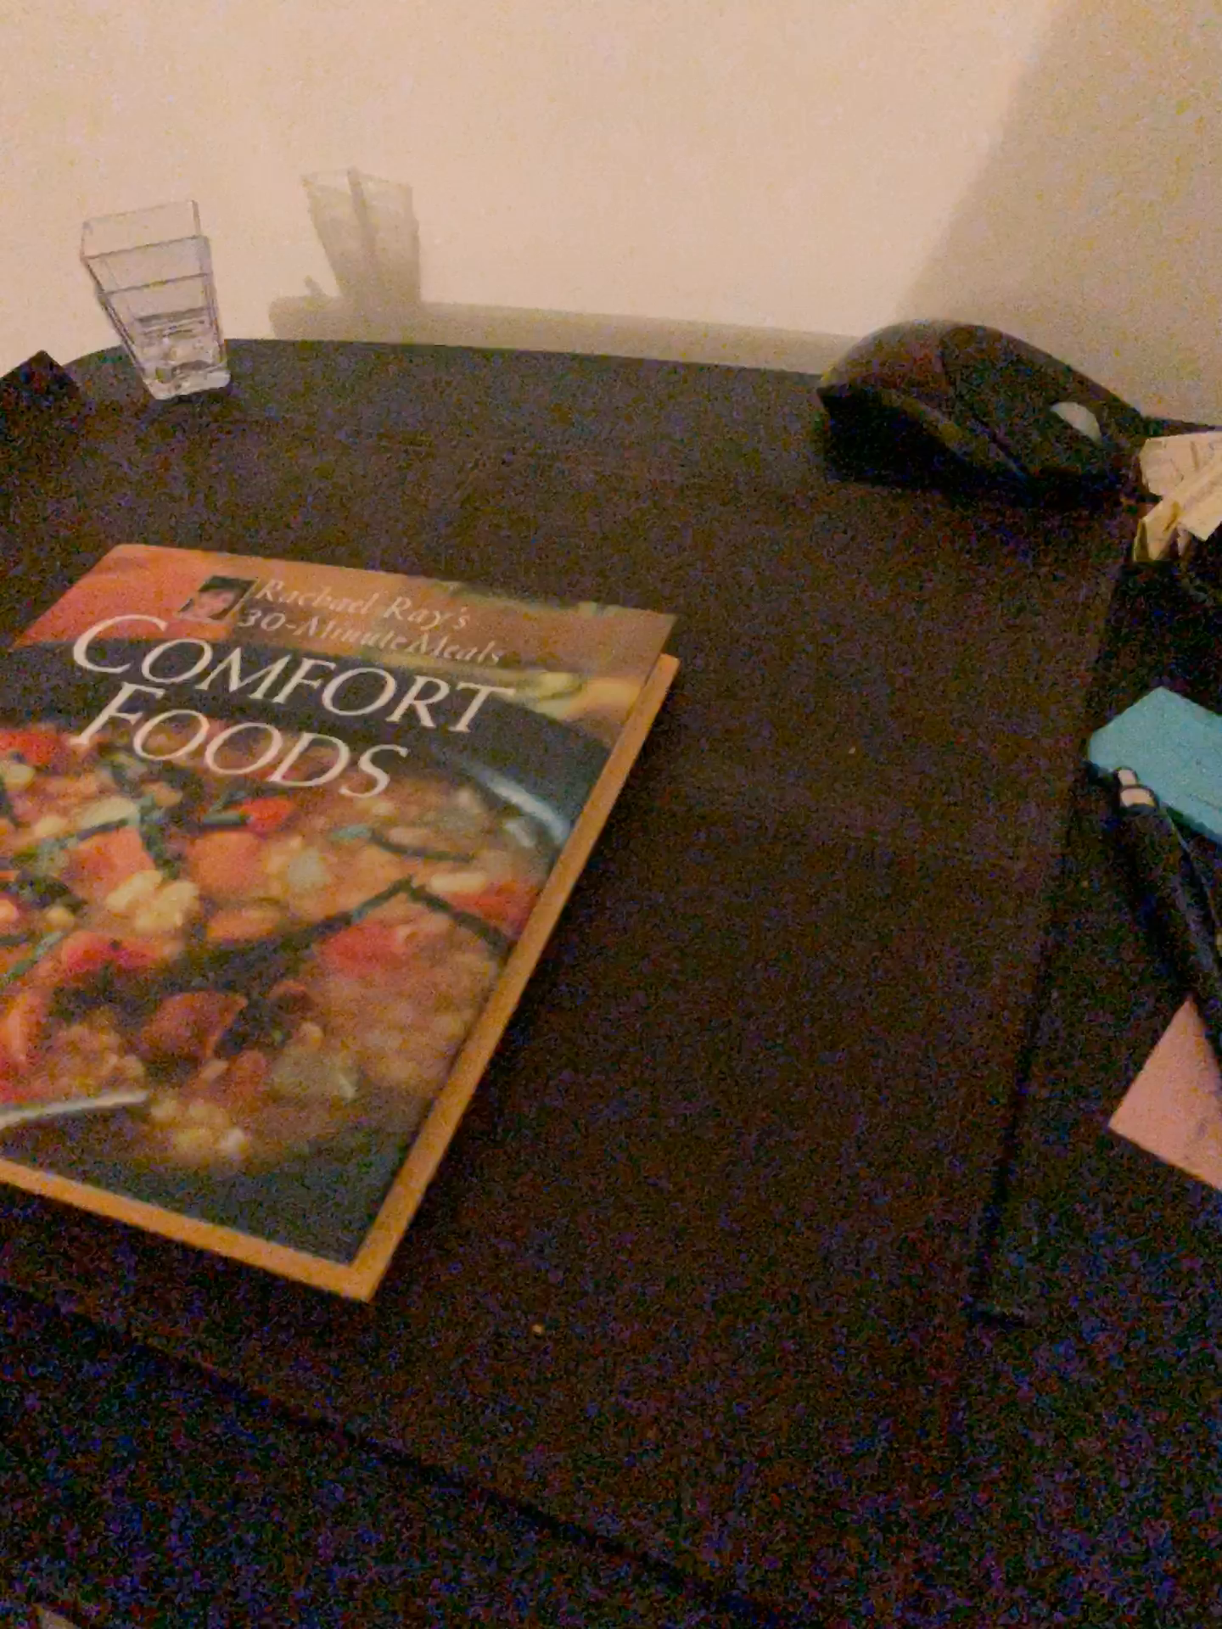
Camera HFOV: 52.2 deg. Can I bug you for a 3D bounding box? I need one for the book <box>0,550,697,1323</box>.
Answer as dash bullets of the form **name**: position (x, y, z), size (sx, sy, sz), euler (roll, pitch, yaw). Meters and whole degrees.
- **book**: position (-0.103, 0.003, 0.323), size (0.200, 0.020, 0.201), euler (9, 46, 18)
